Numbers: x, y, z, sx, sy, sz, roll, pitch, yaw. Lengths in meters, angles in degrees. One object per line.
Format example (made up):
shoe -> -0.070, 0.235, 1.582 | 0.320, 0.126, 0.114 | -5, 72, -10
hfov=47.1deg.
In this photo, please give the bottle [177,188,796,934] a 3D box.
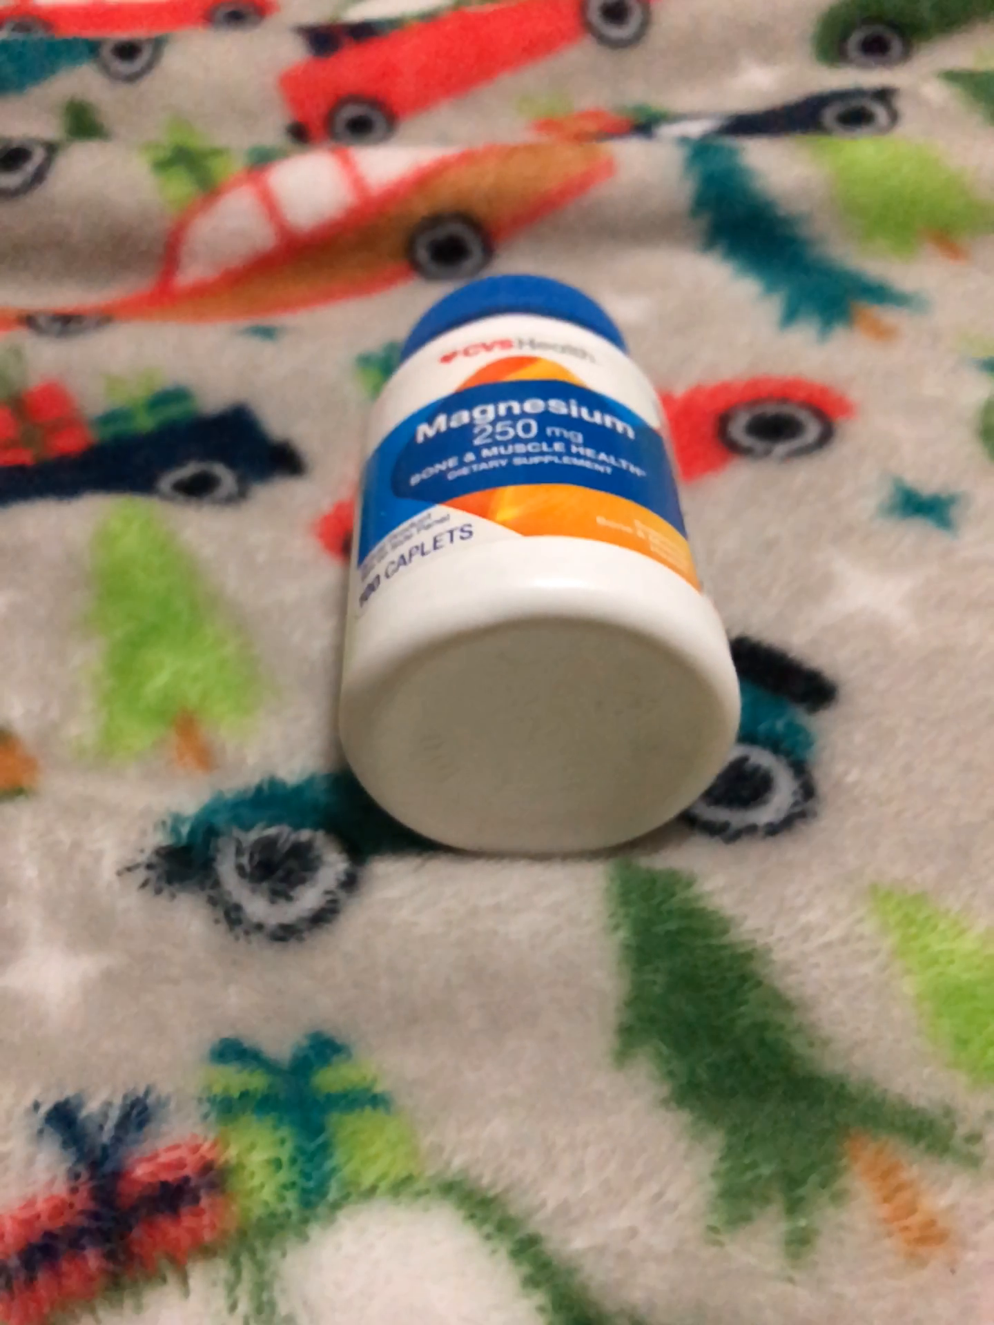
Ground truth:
bottle -> -0.001, -0.021, 0.164 | 0.060, 0.050, 0.100 | -6, 43, 1
